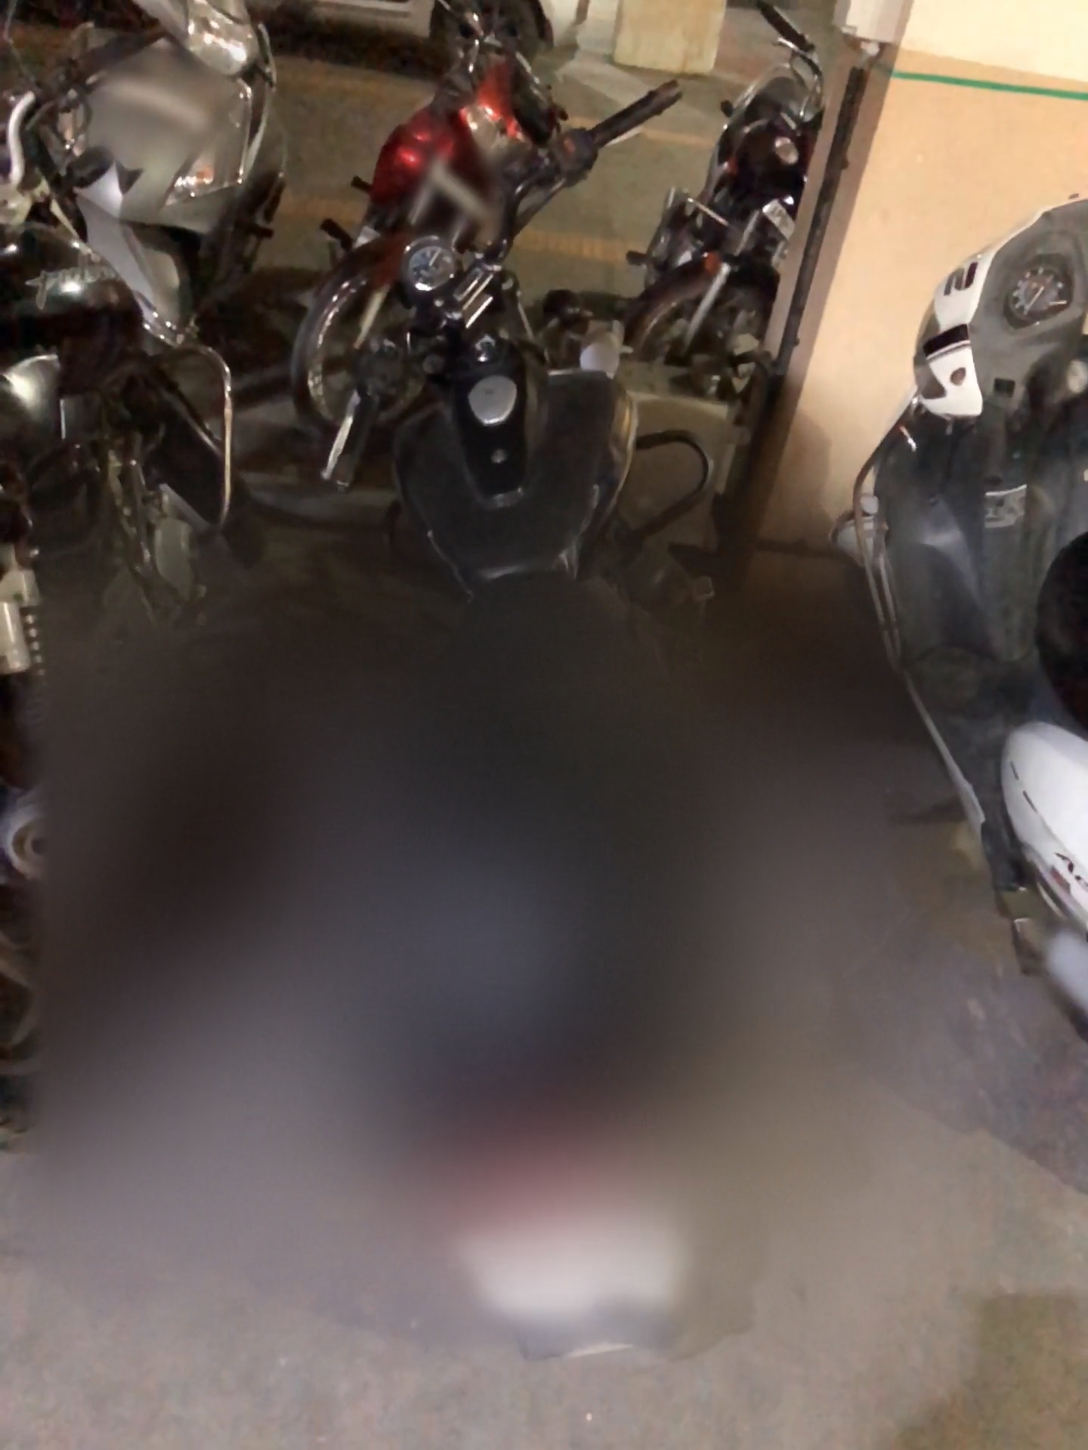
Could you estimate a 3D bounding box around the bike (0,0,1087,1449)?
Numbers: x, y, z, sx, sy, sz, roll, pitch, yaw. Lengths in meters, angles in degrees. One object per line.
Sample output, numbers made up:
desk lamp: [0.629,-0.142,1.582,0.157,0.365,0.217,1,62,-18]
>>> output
bike: [-0.153,-0.196,1.636,0.863,1.252,1.677,2,39,-10]
